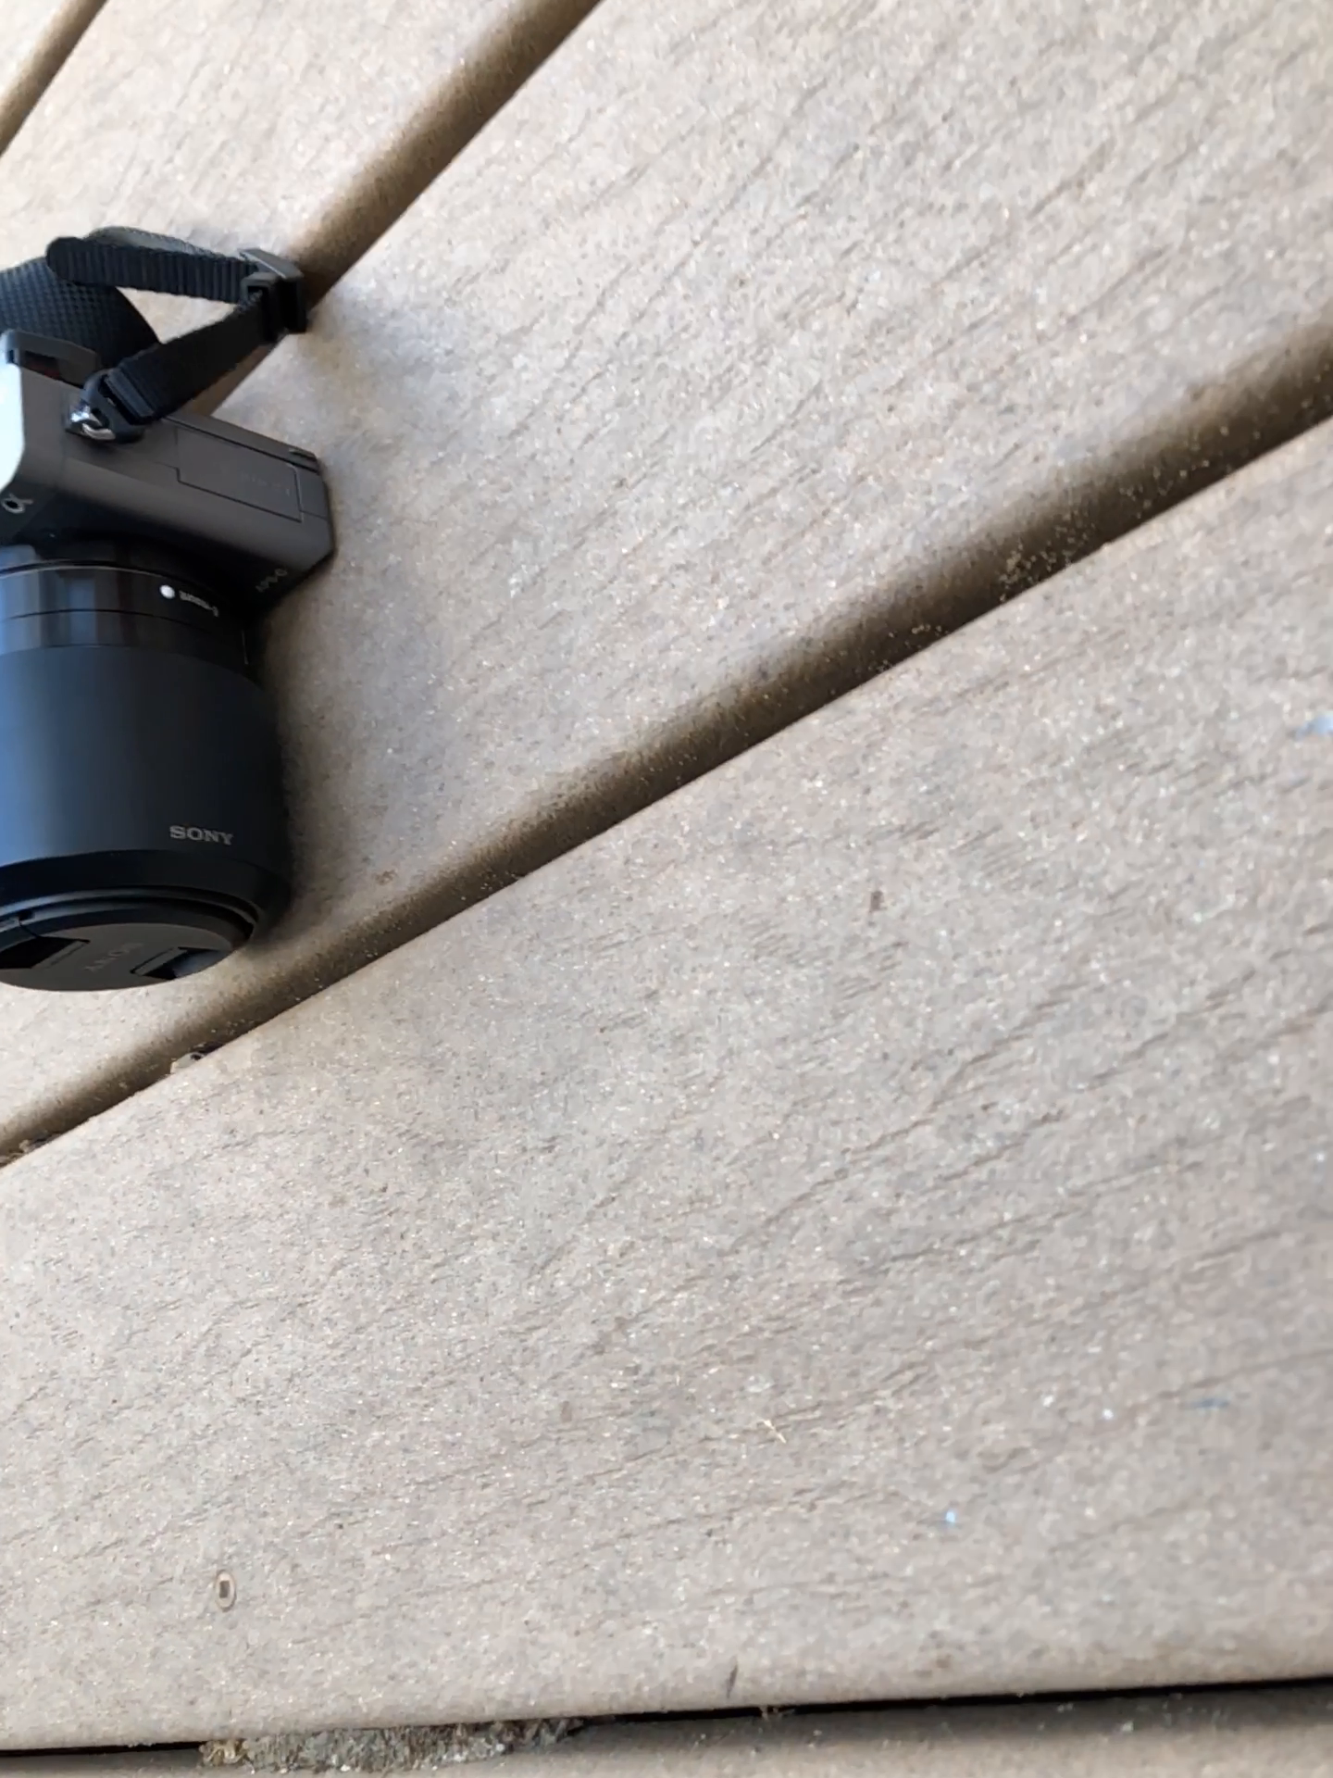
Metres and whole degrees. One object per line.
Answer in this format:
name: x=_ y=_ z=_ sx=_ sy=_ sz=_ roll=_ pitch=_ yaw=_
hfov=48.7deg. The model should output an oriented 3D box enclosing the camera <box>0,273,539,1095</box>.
camera: x=-0.104 y=-0.028 z=0.298 sx=0.130 sy=0.070 sz=0.110 roll=-24 pitch=69 yaw=37
